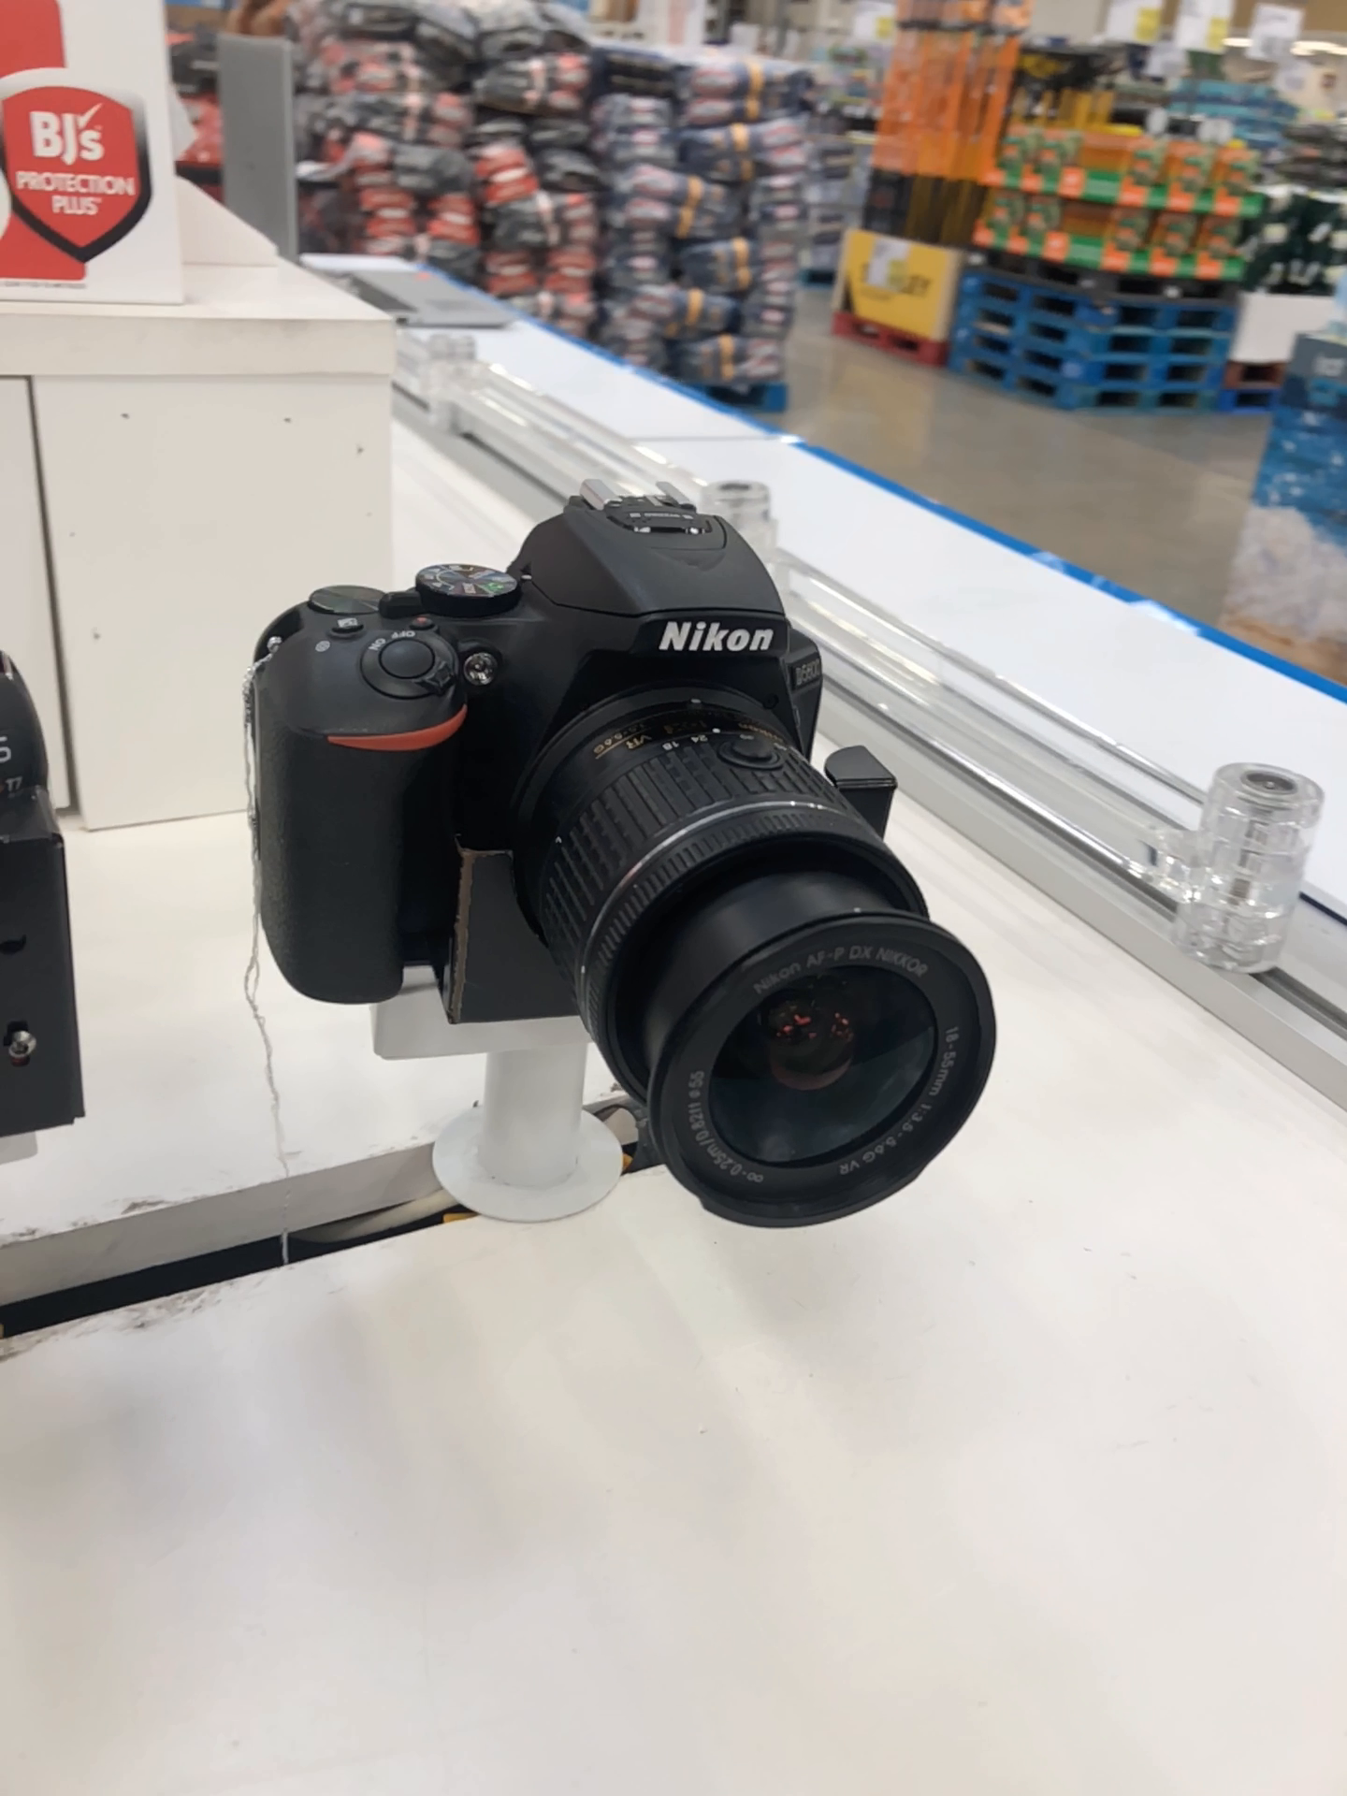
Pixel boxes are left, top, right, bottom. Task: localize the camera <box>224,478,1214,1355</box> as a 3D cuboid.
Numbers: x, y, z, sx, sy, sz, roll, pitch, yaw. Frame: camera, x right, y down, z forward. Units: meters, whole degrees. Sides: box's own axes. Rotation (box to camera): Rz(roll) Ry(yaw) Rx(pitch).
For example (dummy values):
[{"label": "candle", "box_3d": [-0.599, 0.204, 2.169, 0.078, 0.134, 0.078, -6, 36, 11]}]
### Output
[{"label": "camera", "box_3d": [-0.008, -0.015, 0.279, 0.120, 0.089, 0.151, -7, 31, -24]}]
